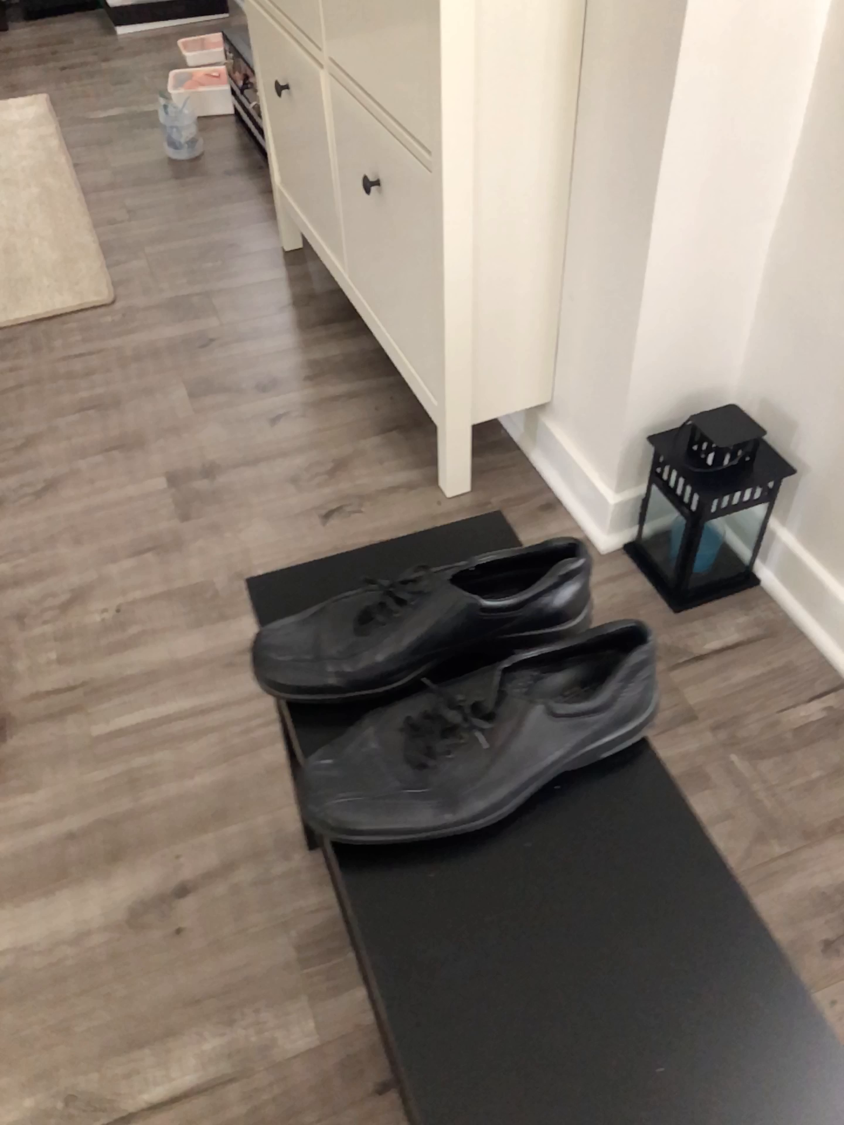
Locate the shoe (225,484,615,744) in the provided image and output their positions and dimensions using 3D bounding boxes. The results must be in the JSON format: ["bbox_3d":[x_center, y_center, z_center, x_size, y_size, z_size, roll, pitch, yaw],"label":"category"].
[{"bbox_3d":[-0.003,0.040,0.762,0.286,0.110,0.111,-12,46,-8],"label":"shoe"}]

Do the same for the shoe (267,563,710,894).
[{"bbox_3d":[0.047,0.116,0.676,0.283,0.110,0.111,-17,47,-13],"label":"shoe"}]
